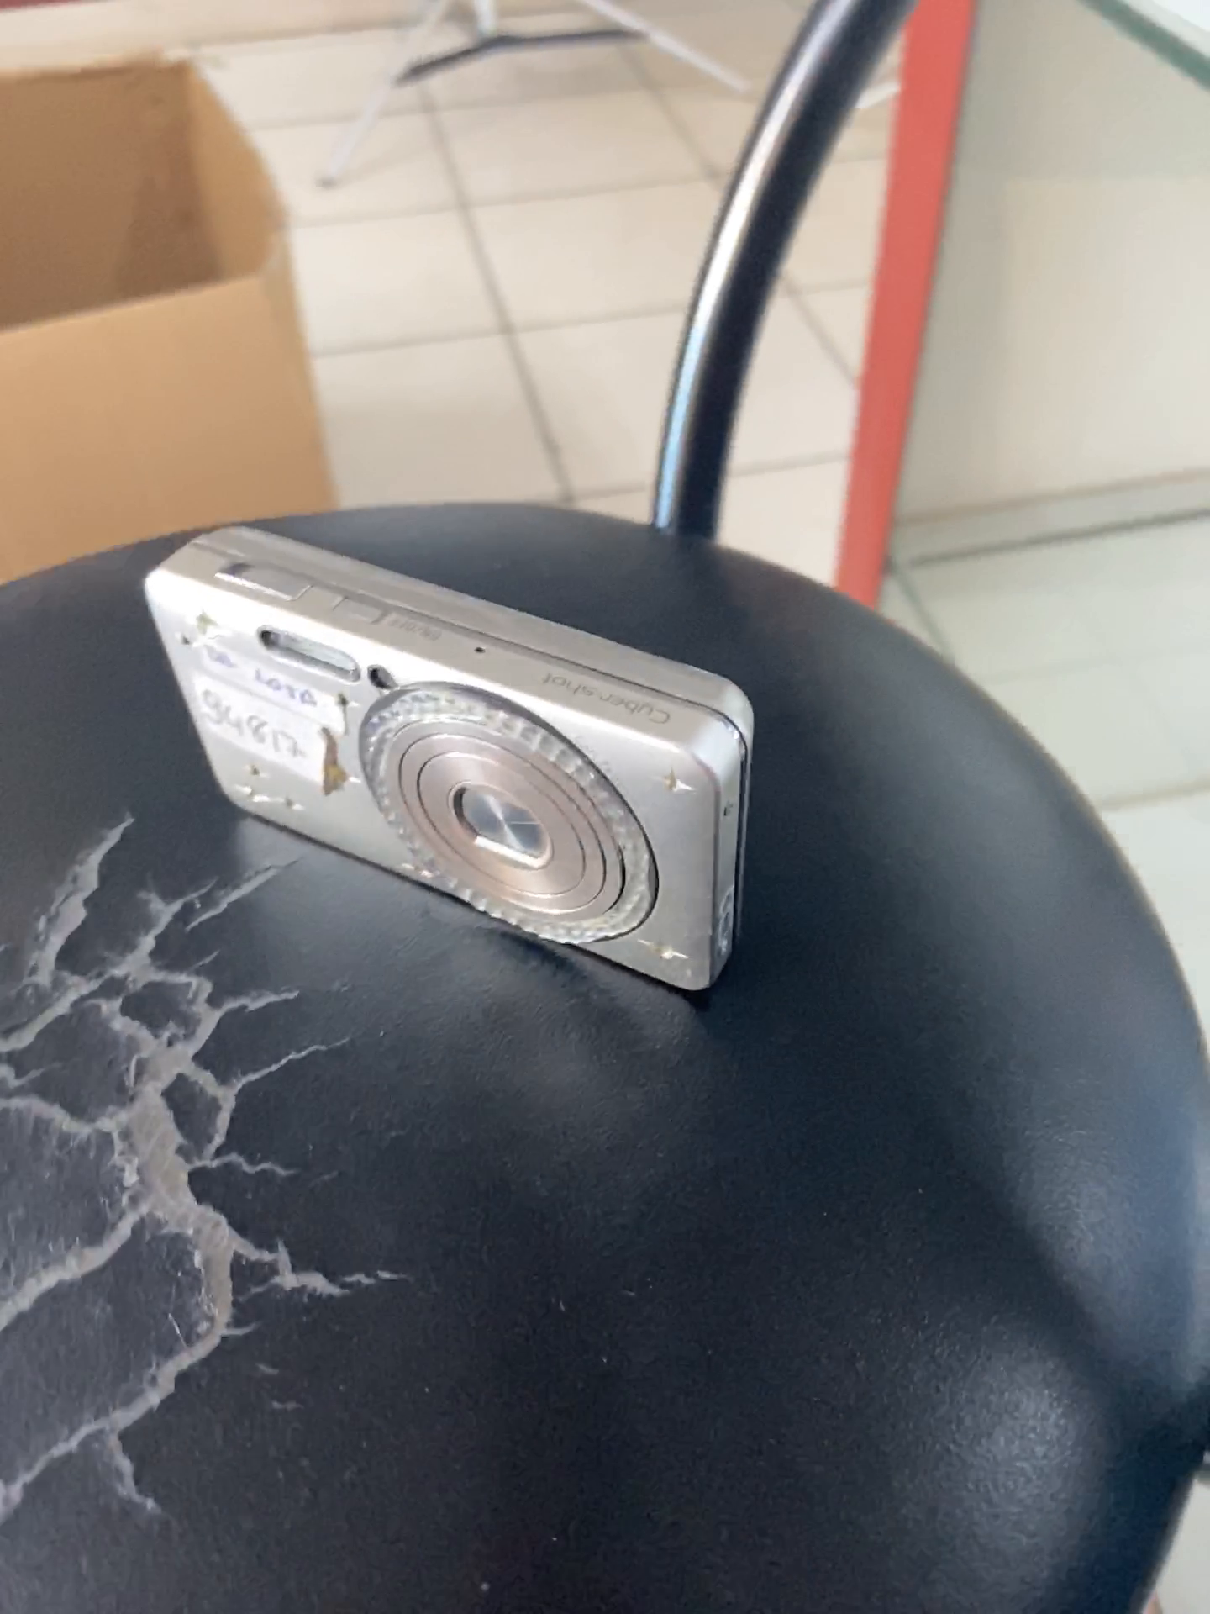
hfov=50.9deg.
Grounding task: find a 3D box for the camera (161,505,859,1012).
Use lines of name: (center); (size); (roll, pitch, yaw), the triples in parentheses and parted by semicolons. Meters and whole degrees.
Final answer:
camera: (-0.014, -0.008, 0.181); (0.092, 0.042, 0.022); (20, 51, 19)
